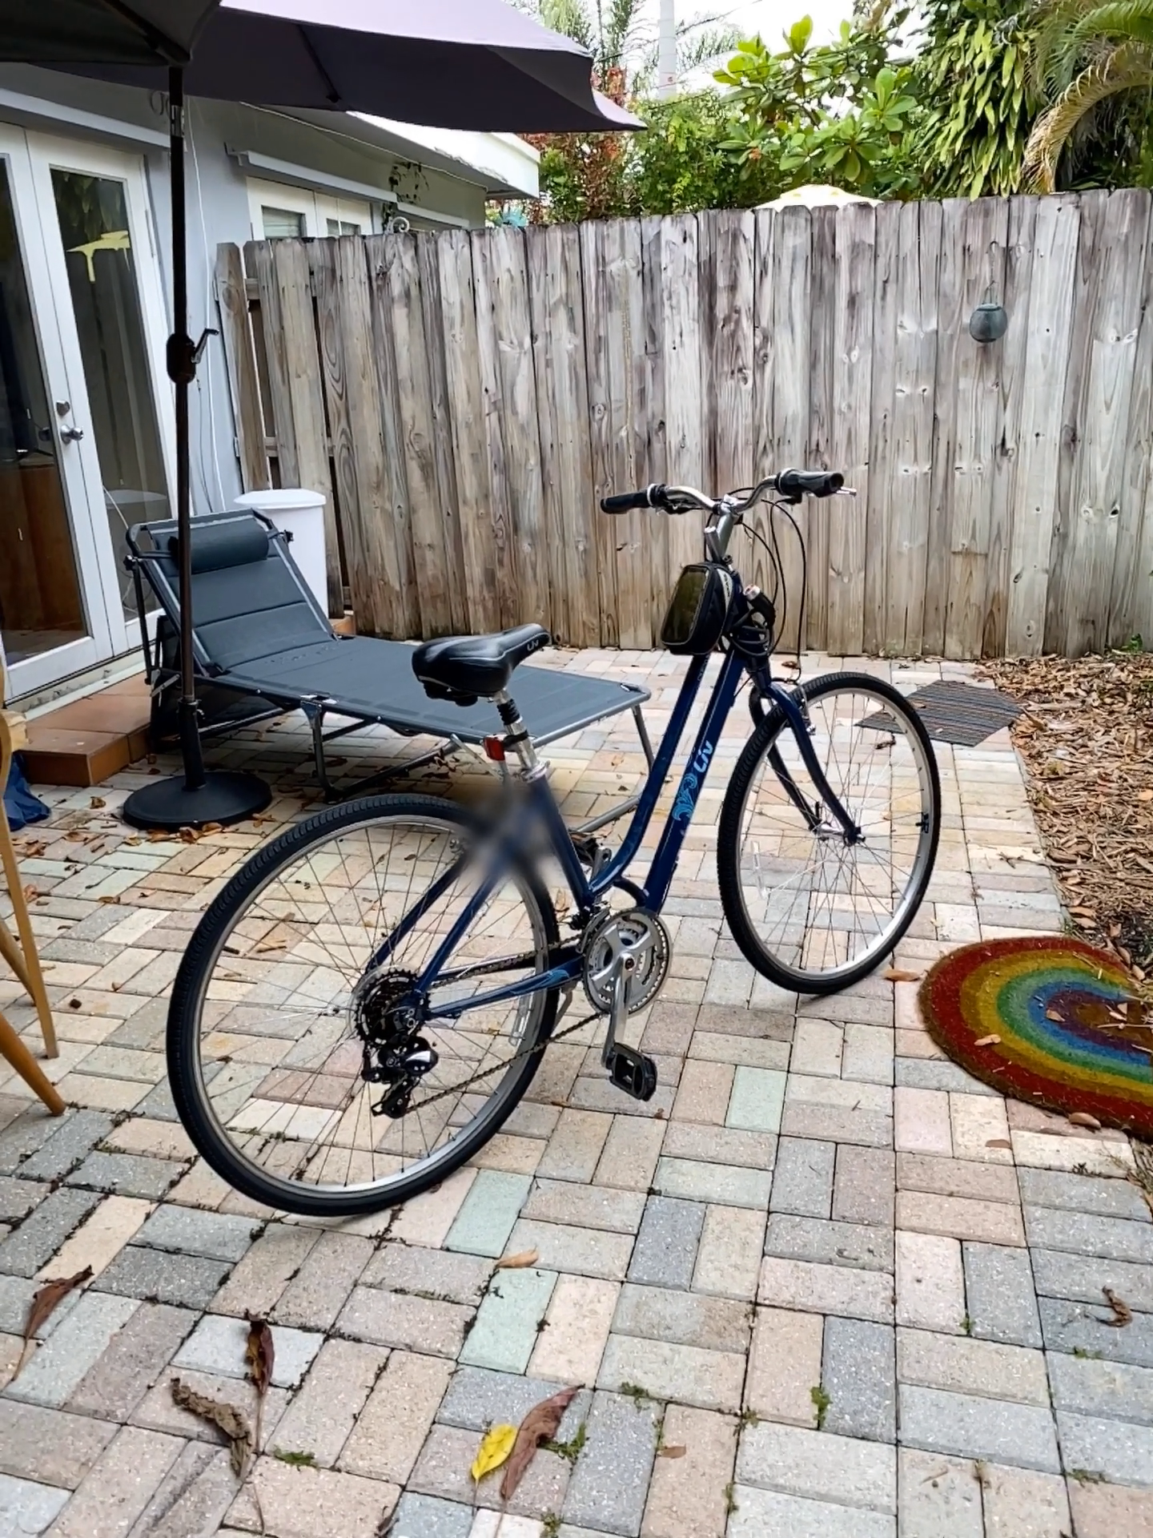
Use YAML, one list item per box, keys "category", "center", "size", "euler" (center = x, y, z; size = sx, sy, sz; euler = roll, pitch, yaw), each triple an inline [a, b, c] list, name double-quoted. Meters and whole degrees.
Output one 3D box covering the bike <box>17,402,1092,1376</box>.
- category: "bike"
  center: [0.092, 0.007, 2.077]
  size: [1.692, 1.067, 0.597]
  euler: [-19, 25, -33]
